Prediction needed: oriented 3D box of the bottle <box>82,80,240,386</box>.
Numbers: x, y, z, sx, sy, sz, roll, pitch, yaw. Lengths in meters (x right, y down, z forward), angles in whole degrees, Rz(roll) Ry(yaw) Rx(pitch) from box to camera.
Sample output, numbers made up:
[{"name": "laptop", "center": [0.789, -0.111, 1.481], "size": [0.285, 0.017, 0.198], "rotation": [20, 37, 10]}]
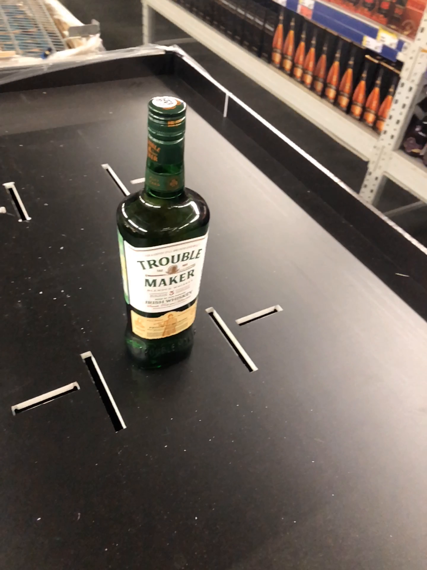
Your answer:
[{"name": "bottle", "center": [-0.056, -0.032, 0.467], "size": [0.100, 0.298, 0.080], "rotation": [-15, 48, -21]}]
